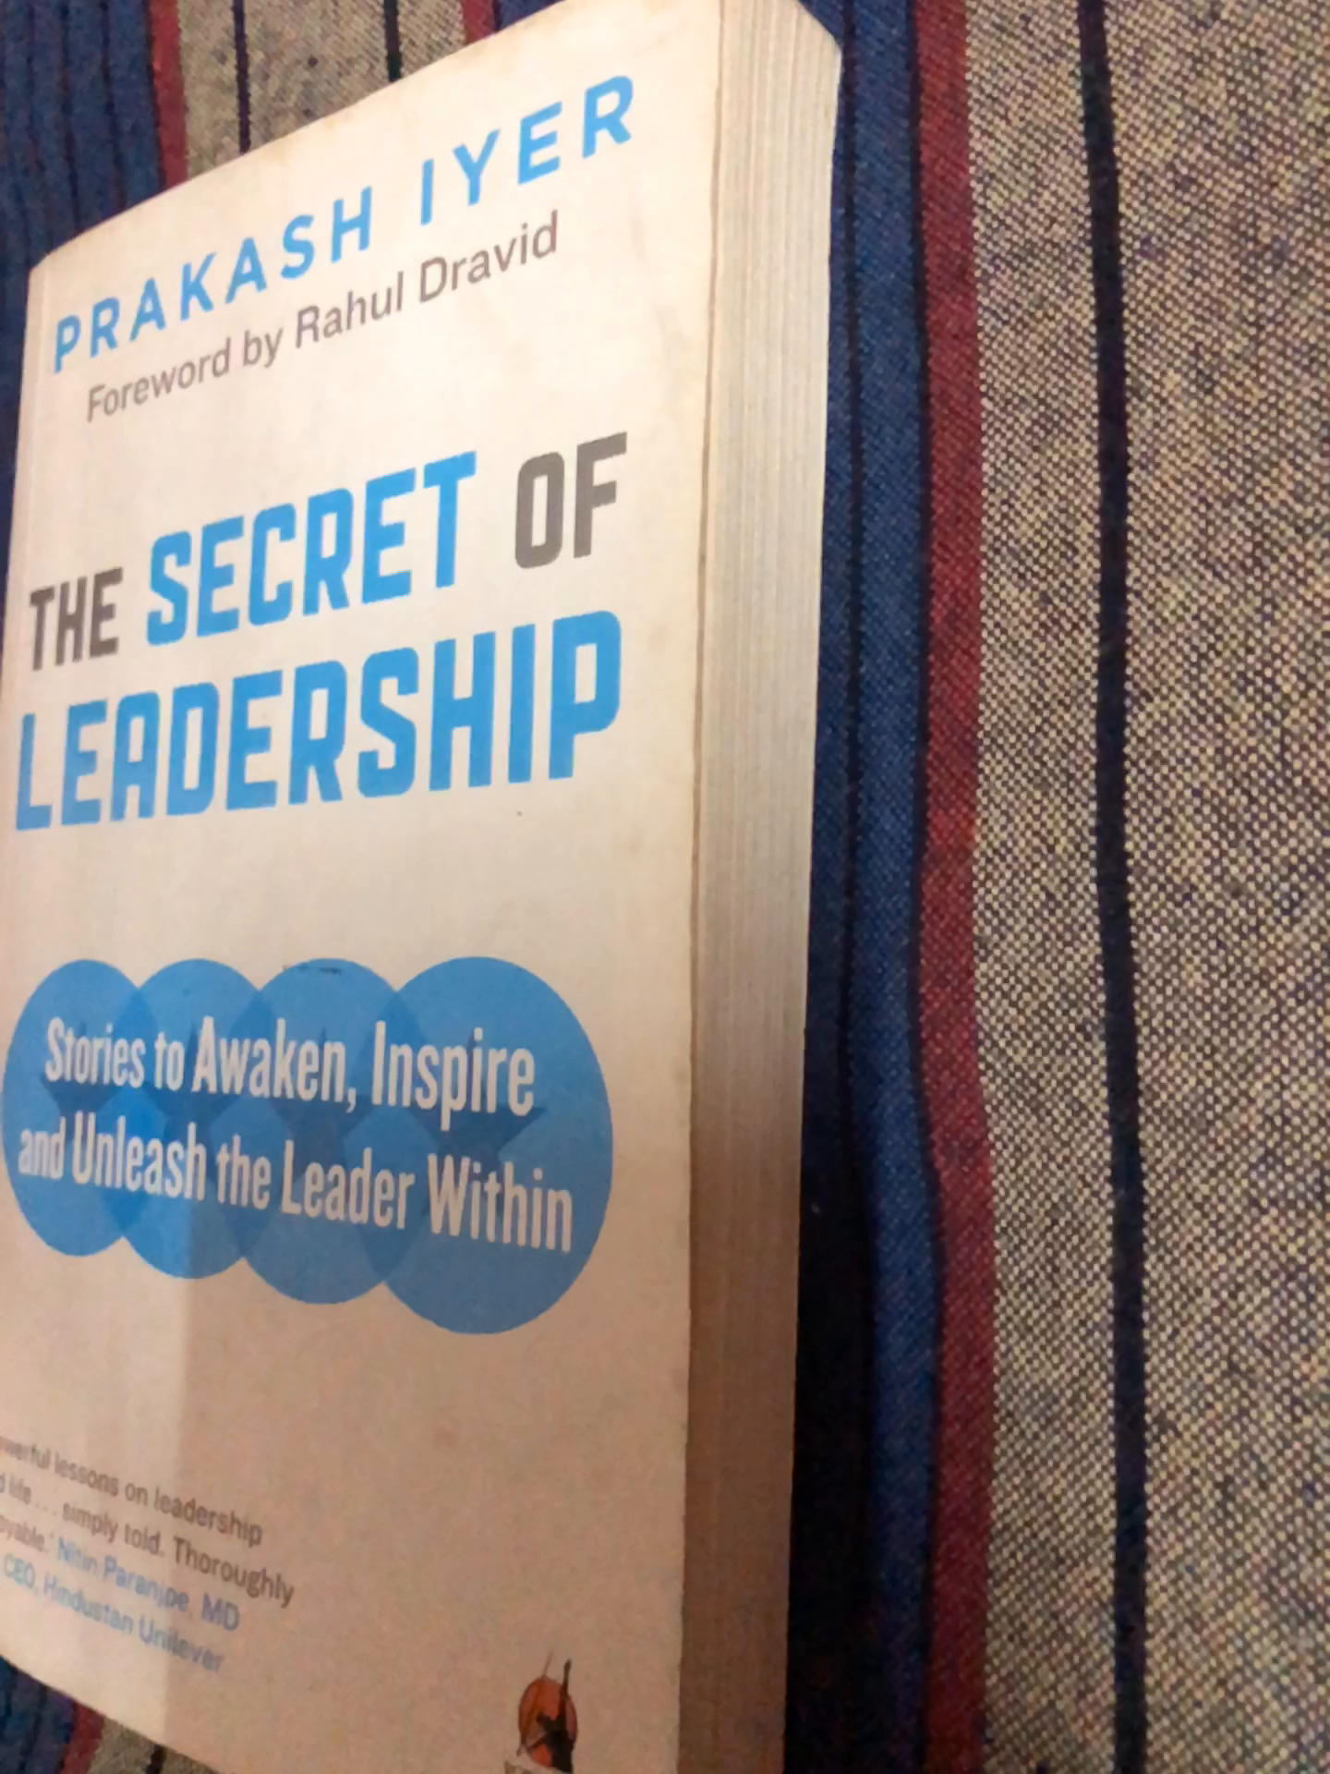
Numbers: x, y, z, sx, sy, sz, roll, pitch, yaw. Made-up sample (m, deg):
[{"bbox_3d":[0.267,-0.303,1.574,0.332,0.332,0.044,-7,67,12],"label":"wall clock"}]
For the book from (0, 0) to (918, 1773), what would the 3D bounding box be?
[{"bbox_3d":[-0.044,-0.005,0.175,0.140,0.030,0.190,-2,83,35],"label":"book"}]
